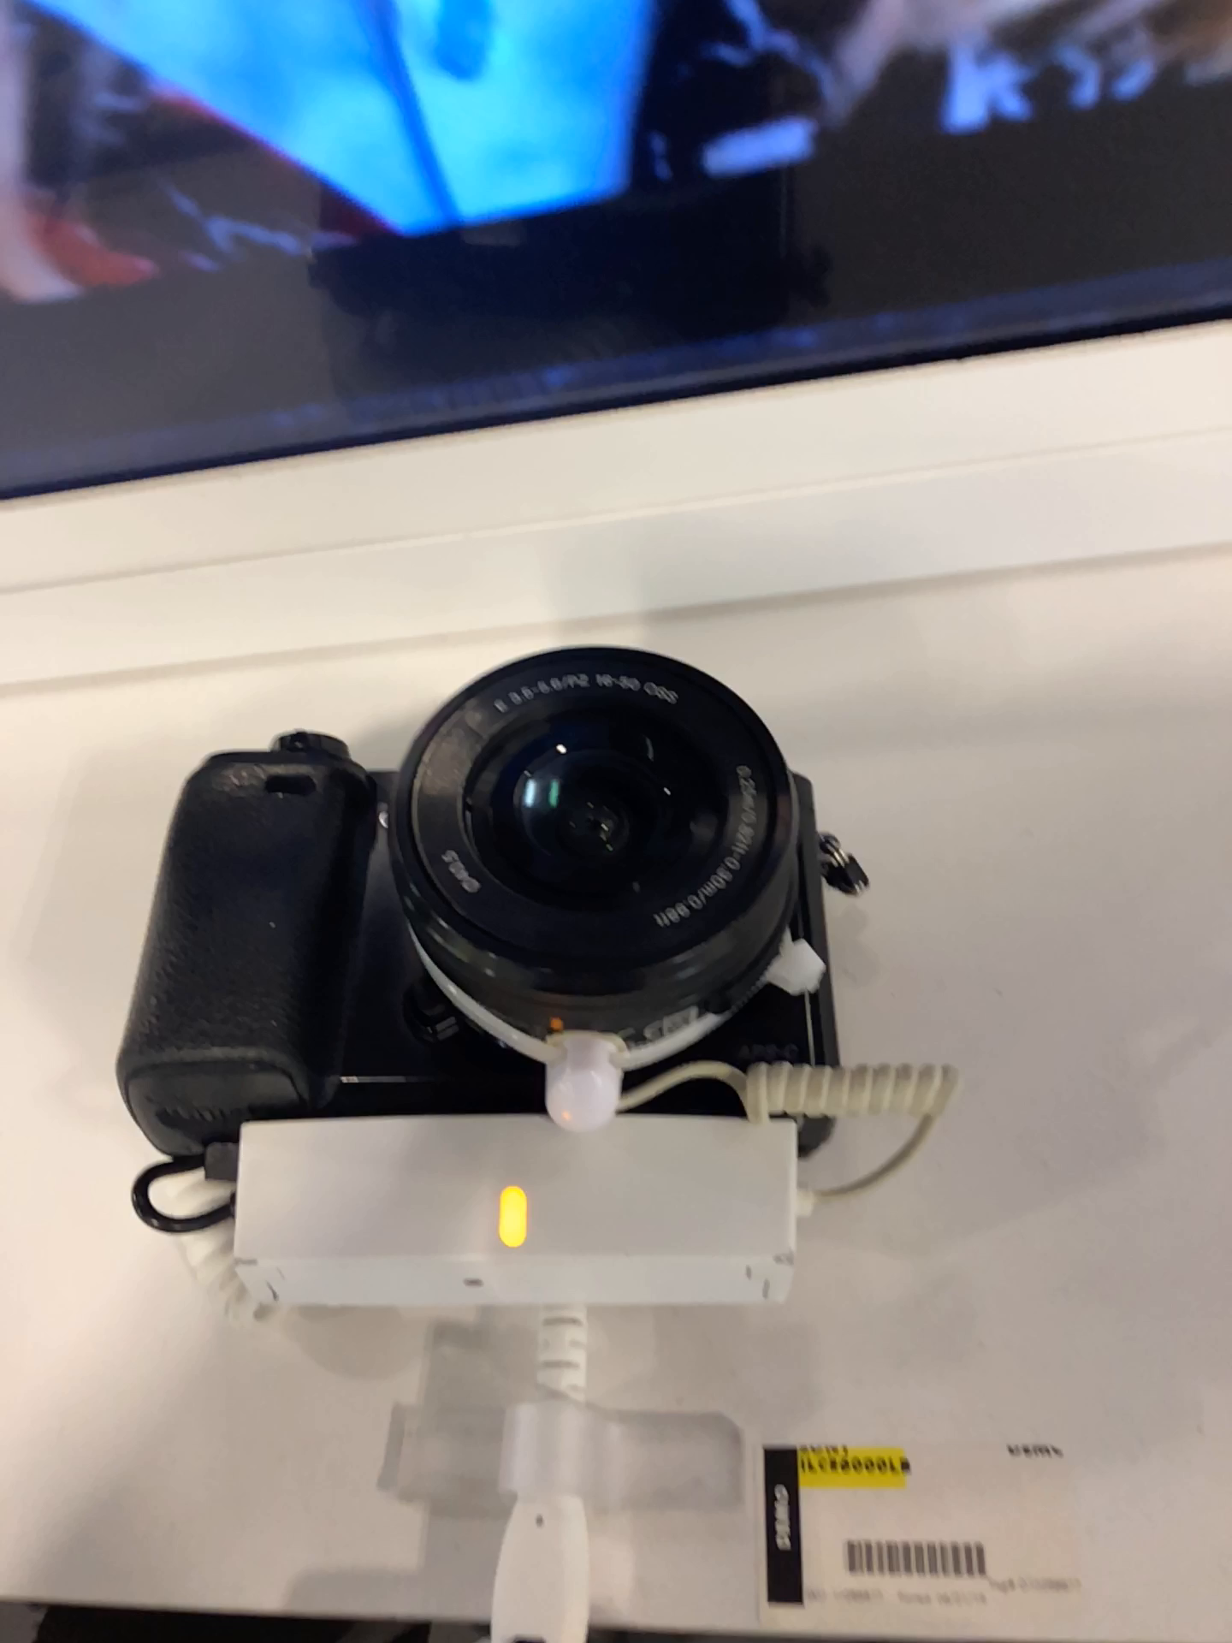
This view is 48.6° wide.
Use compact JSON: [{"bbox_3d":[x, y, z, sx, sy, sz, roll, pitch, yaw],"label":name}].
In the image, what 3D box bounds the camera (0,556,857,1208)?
[{"bbox_3d":[-0.029,0.013,0.241,0.130,0.070,0.090,-1,58,4],"label":"camera"}]
